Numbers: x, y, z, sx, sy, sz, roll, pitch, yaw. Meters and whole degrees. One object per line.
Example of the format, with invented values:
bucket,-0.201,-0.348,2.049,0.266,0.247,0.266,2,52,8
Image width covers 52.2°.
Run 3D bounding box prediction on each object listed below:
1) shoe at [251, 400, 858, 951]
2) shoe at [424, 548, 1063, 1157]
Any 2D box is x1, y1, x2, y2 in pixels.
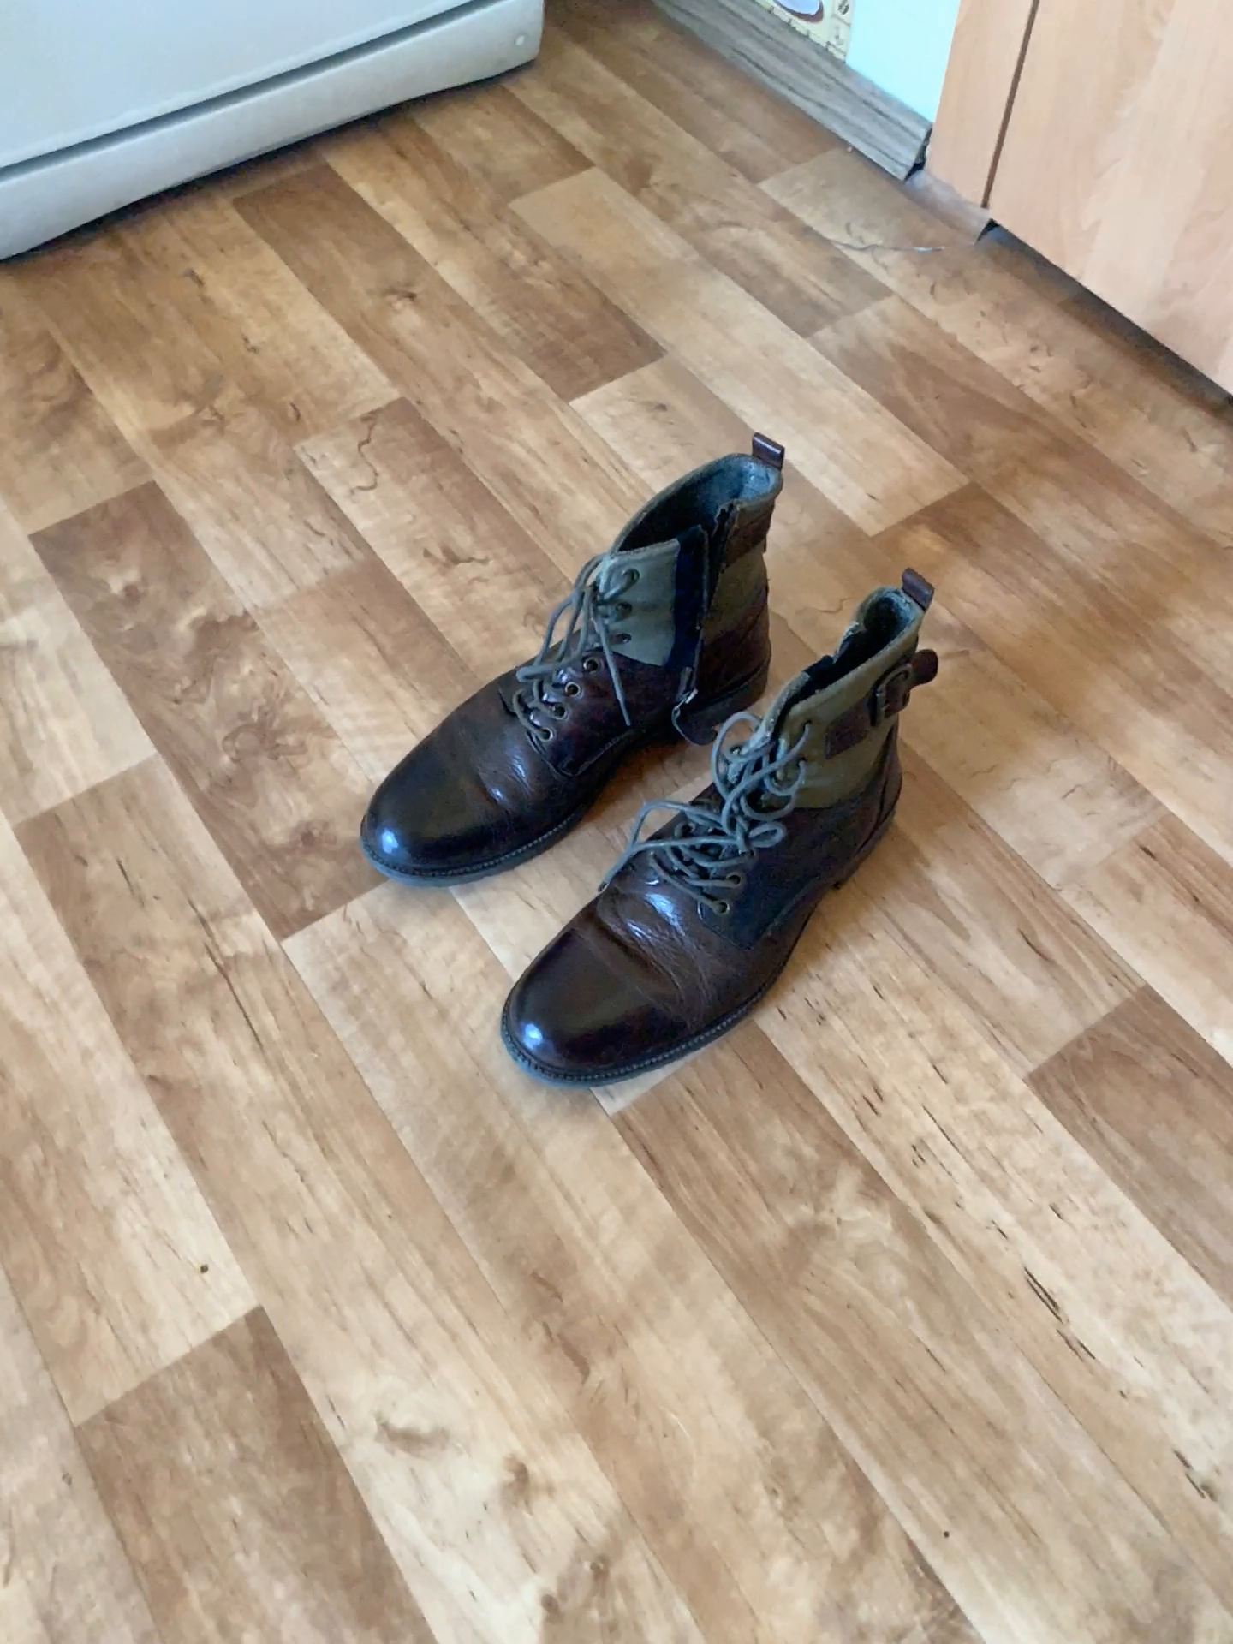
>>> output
shoe,-0.025,-0.085,0.717,0.310,0.150,0.110,-34,64,-18
shoe,0.068,0.014,0.662,0.310,0.150,0.110,-35,65,-19
